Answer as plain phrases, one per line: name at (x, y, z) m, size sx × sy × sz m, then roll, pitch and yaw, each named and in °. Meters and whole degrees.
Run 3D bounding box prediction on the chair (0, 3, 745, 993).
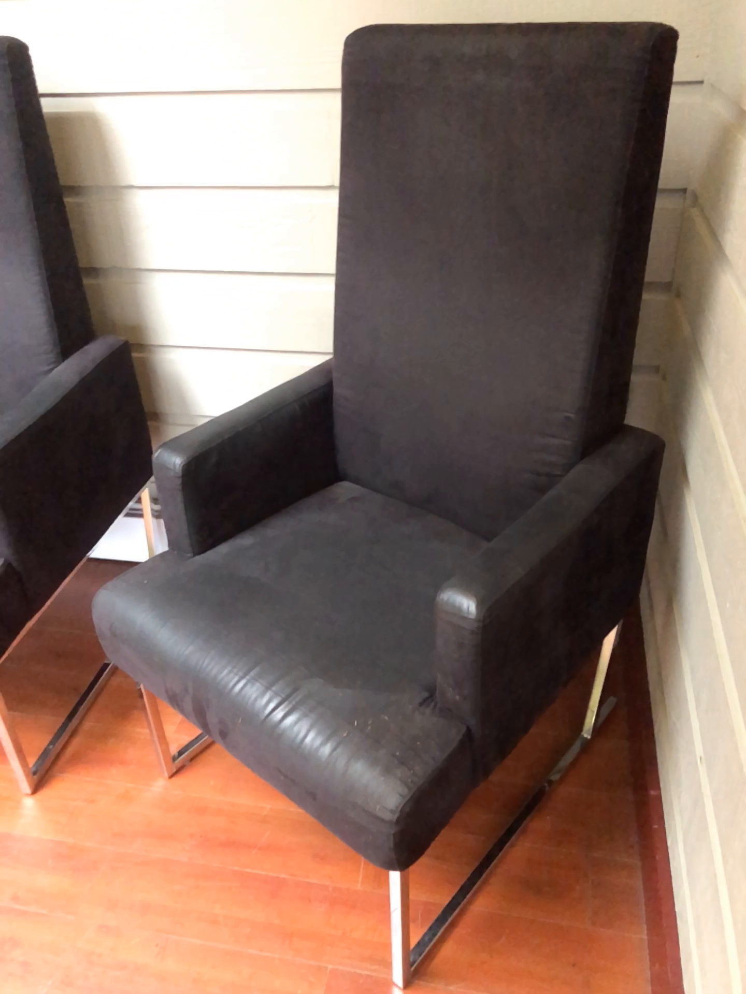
chair at (-0.018, -0.048, 1.158) m, size 0.632 × 1.082 × 0.702 m, roll 23°, pitch 39°, yaw 35°
